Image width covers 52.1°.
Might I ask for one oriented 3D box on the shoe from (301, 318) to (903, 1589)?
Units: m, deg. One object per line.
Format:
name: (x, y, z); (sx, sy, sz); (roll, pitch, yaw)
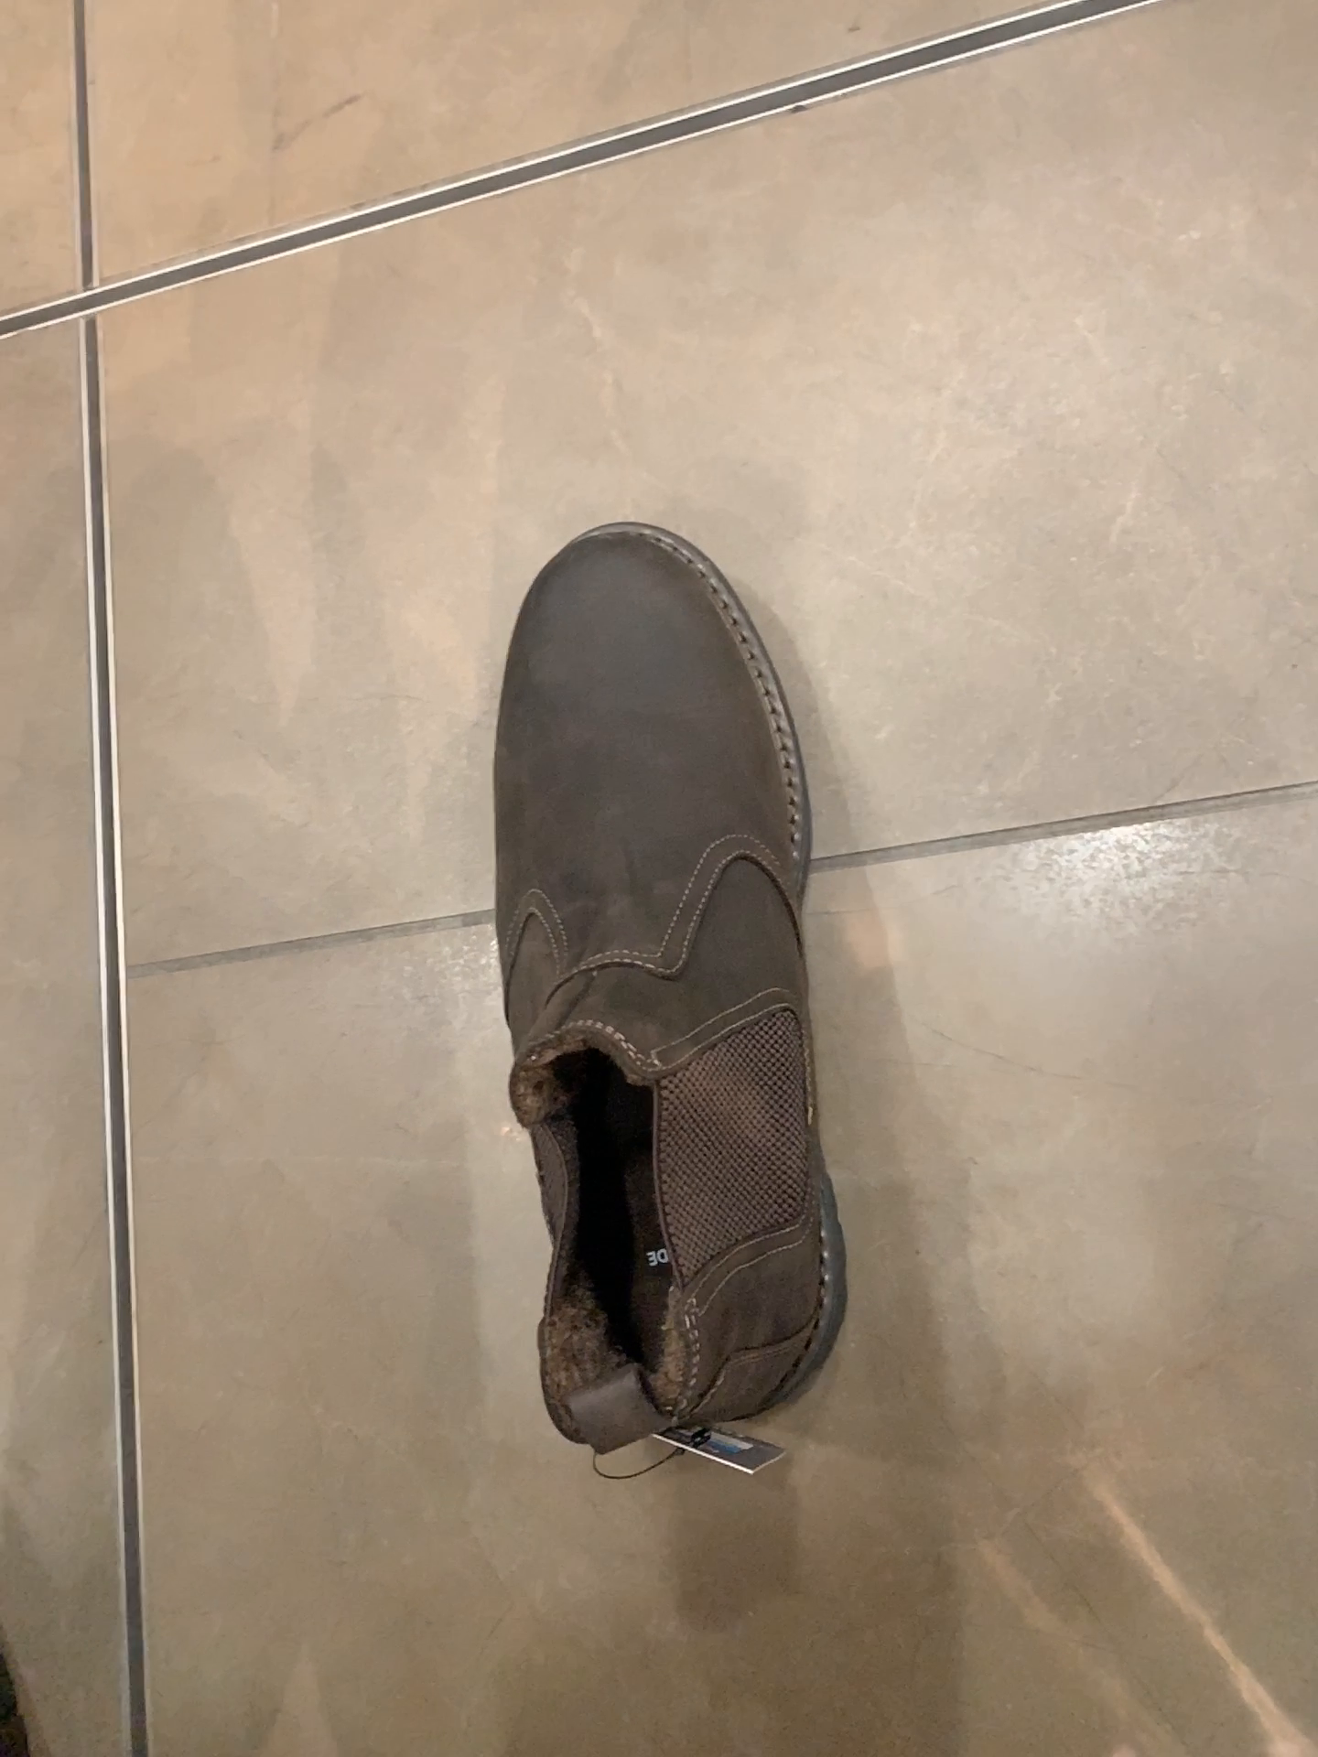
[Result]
shoe: (-0.009, 0.024, 0.413); (0.114, 0.166, 0.304); (-8, 79, 14)
